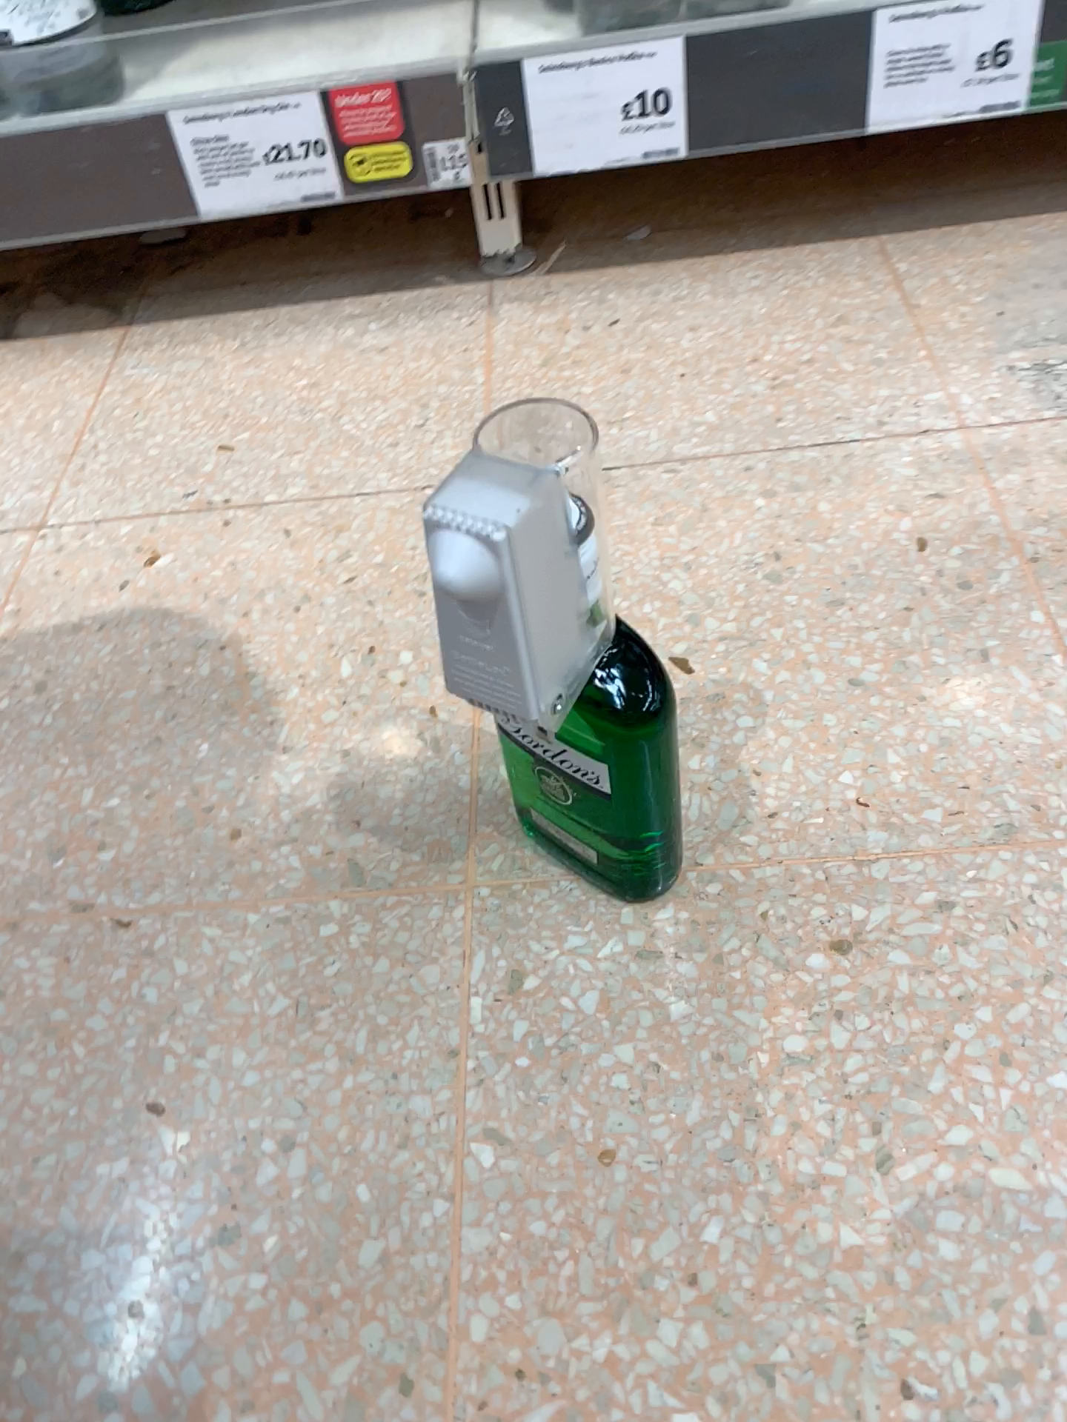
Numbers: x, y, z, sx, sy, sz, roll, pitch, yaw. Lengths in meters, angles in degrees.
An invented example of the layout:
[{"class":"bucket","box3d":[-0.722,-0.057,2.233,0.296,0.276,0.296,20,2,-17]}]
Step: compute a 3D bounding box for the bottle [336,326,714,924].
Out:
[{"class":"bottle","box3d":[0.008,-0.021,0.398,0.103,0.203,0.055,32,61,31]}]
